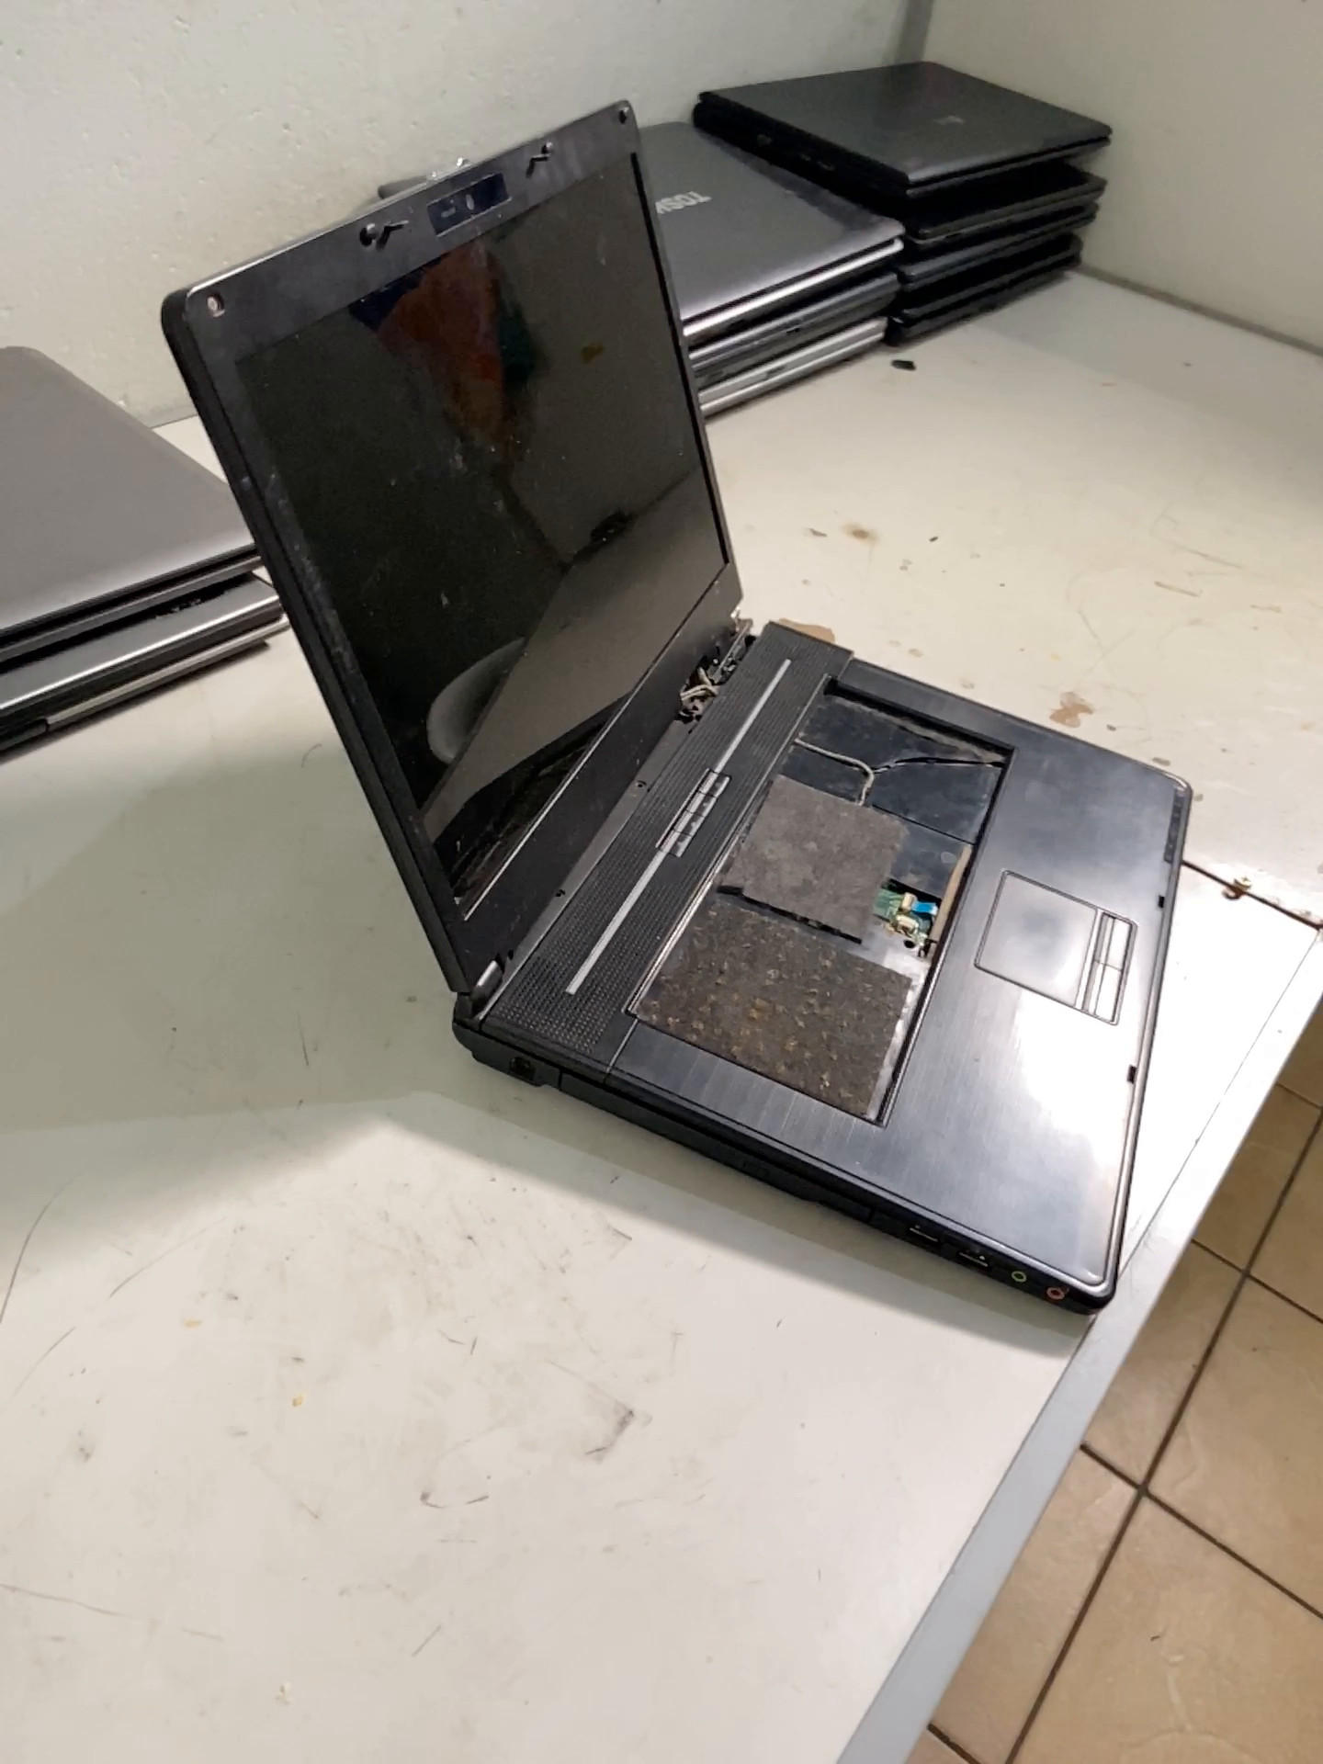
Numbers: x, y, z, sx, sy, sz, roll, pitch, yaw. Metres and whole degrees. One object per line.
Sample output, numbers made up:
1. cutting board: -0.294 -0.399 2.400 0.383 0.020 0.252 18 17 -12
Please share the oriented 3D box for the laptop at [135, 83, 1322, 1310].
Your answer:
1. laptop: 0.067 -0.114 0.561 0.379 0.235 0.346 23 43 11
